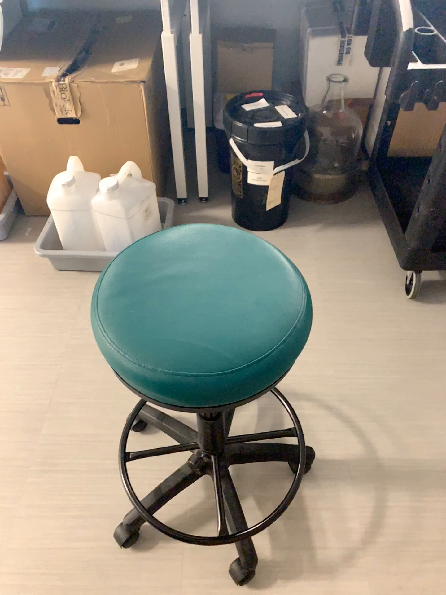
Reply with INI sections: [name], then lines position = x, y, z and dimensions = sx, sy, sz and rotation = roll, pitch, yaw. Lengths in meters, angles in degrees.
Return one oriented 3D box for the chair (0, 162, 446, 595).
[chair]
position = -0.060, 0.221, 0.968
dimensions = 0.591, 0.654, 0.594
rotation = -20, 51, -17
